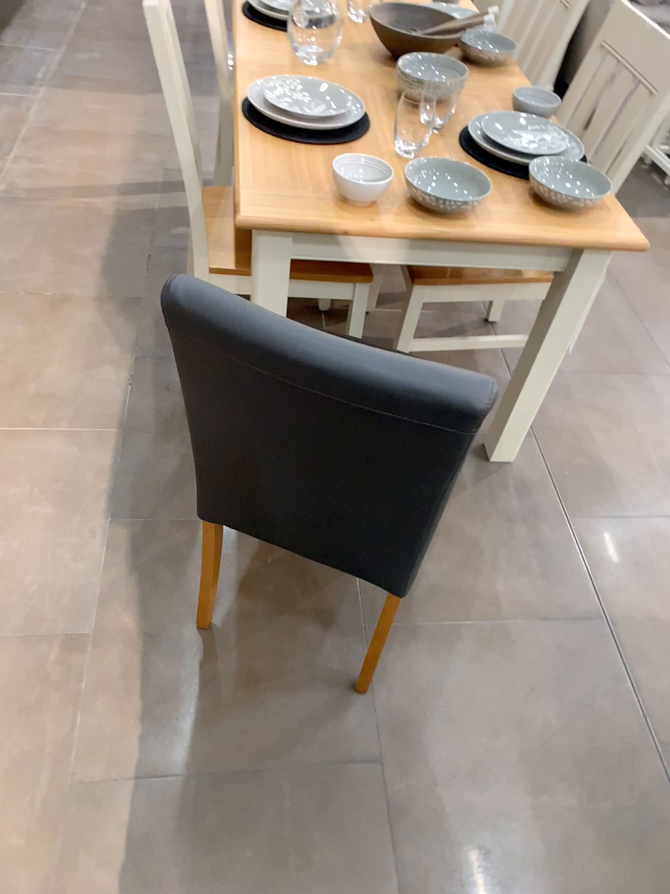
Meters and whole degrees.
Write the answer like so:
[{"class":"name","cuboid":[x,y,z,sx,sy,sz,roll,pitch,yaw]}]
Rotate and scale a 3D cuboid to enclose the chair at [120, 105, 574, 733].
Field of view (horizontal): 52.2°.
[{"class":"chair","cuboid":[0.022,-0.019,1.314,0.475,0.907,0.655,19,47,8]}]
